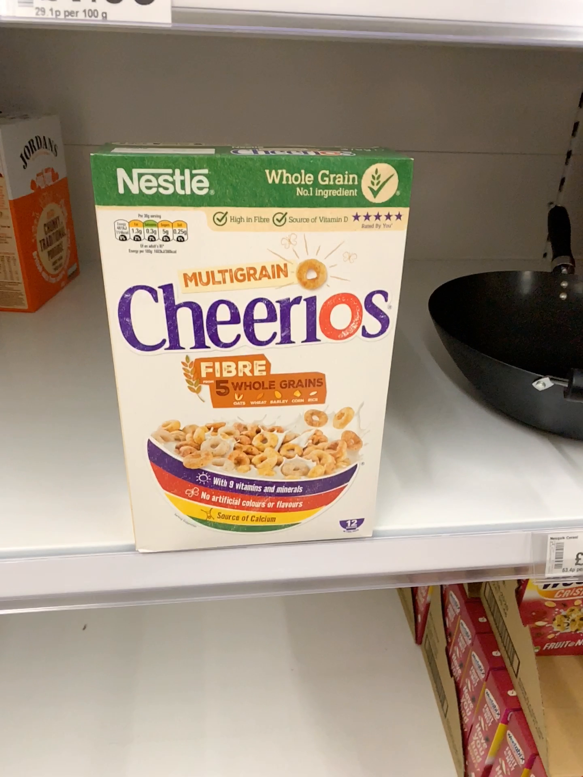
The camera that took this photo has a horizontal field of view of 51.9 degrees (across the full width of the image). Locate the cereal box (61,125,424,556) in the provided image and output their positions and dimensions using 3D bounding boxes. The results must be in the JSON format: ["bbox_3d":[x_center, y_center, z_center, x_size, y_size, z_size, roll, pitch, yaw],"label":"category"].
[{"bbox_3d":[-0.032,-0.026,0.424,0.200,0.288,0.071,-2,26,-8],"label":"cereal box"}]
